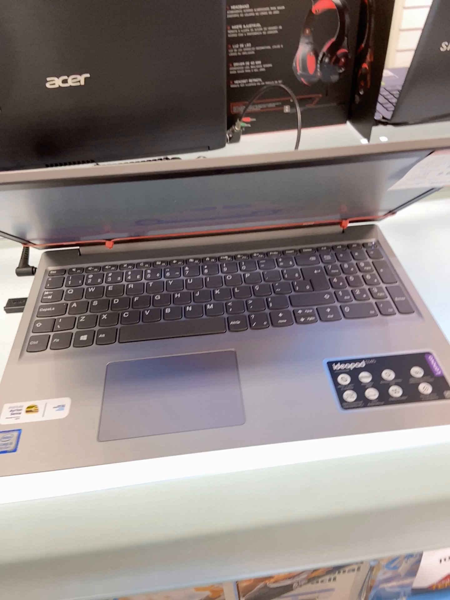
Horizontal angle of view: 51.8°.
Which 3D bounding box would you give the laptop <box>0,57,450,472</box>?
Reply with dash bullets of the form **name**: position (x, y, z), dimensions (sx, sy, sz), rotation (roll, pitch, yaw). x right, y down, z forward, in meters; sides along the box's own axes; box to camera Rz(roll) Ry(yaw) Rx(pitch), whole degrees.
- **laptop**: position (-0.005, -0.047, 0.357), dimensions (0.361, 0.167, 0.248), rotation (-5, 43, -2)
